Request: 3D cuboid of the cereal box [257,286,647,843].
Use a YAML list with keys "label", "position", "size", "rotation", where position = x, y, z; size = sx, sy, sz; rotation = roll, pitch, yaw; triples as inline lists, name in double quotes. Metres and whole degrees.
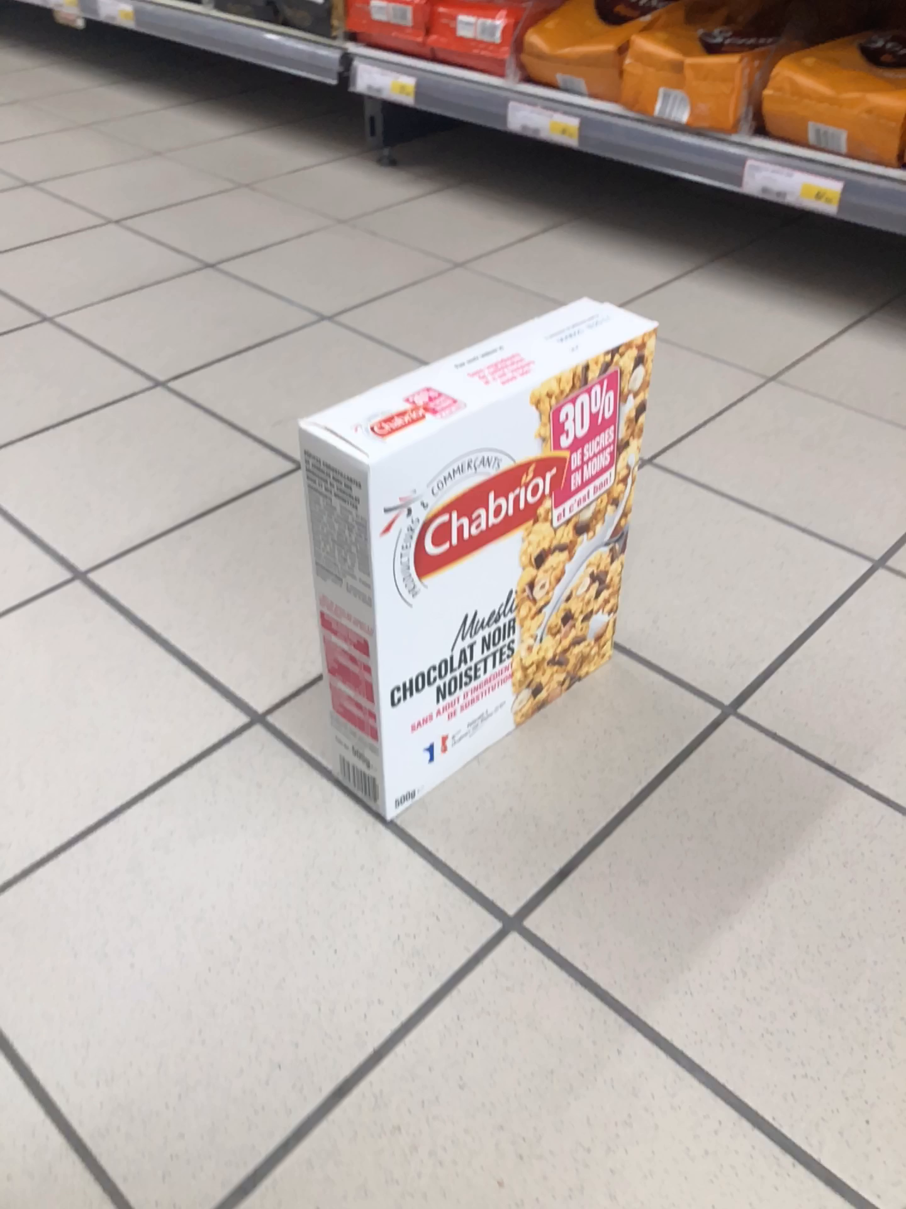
- label: "cereal box"
  position: [0.008, -0.020, 0.533]
  size: [0.201, 0.239, 0.050]
  rotation: [-31, 48, -33]
